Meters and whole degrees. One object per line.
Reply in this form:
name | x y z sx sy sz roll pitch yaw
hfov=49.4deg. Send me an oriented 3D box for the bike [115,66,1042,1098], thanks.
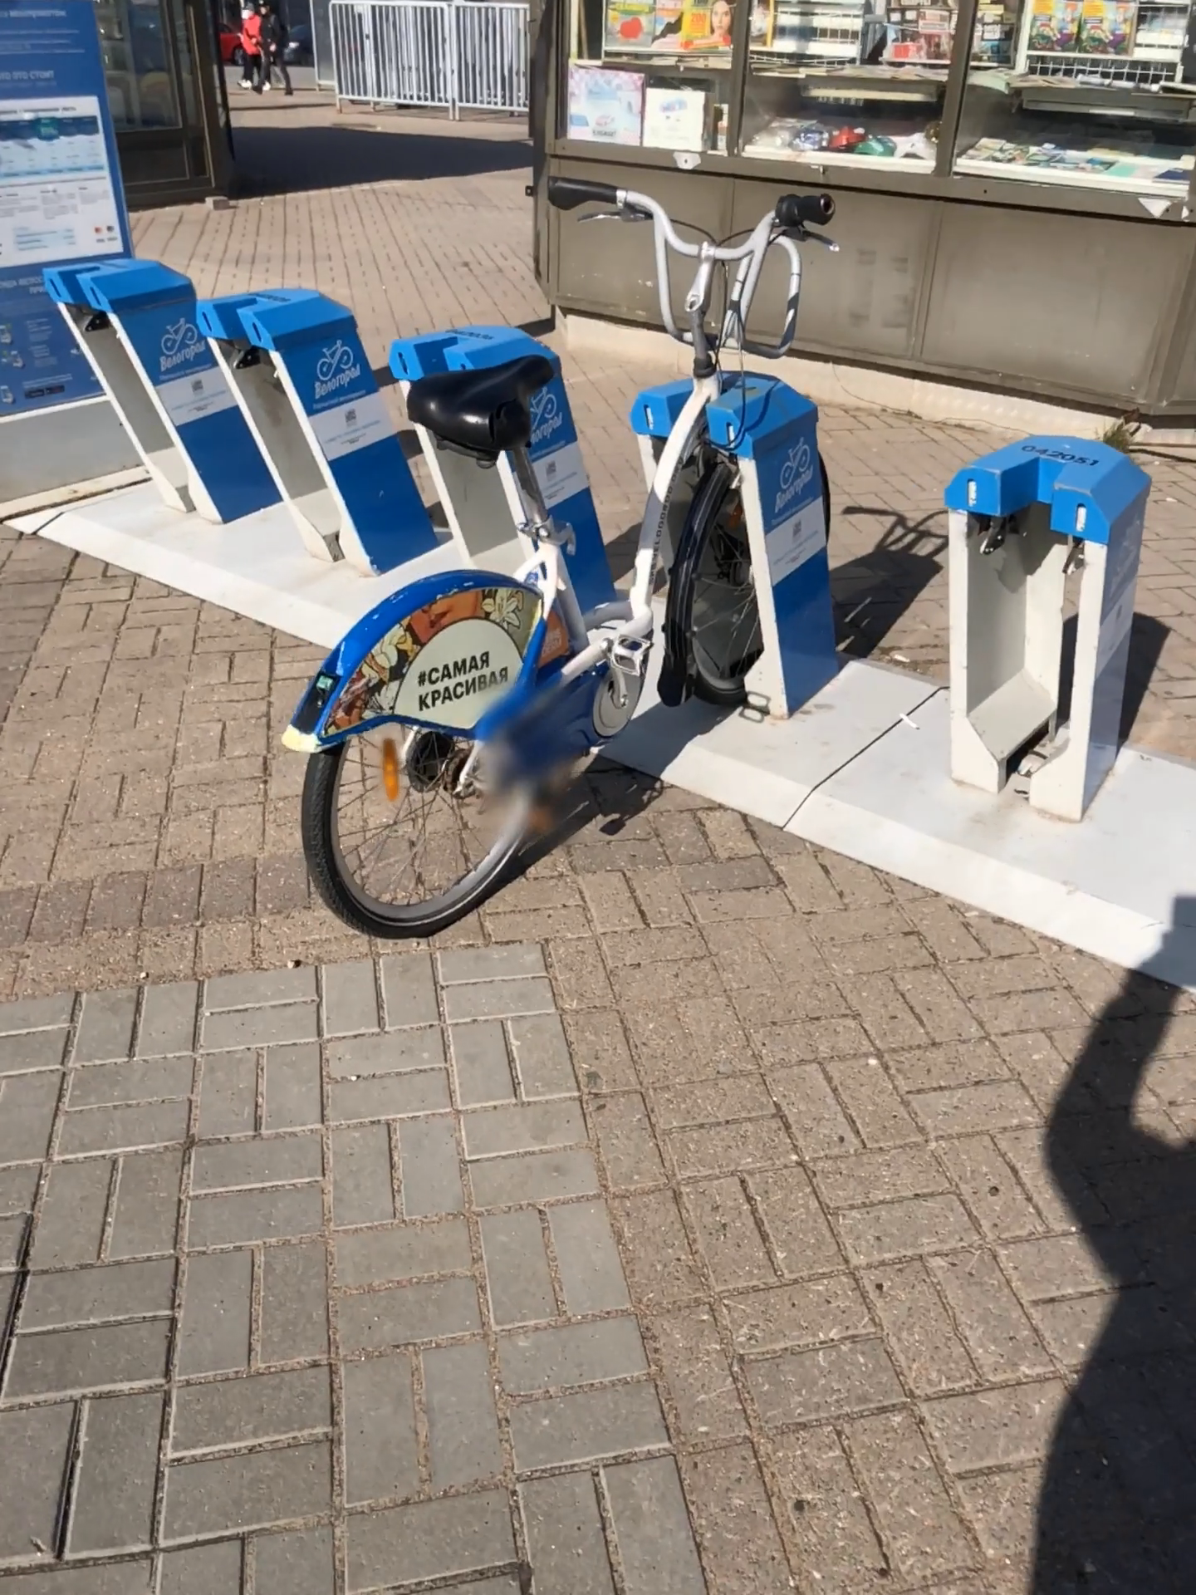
bike | 0.081 -0.542 2.393 0.597 1.203 1.632 22 40 31
